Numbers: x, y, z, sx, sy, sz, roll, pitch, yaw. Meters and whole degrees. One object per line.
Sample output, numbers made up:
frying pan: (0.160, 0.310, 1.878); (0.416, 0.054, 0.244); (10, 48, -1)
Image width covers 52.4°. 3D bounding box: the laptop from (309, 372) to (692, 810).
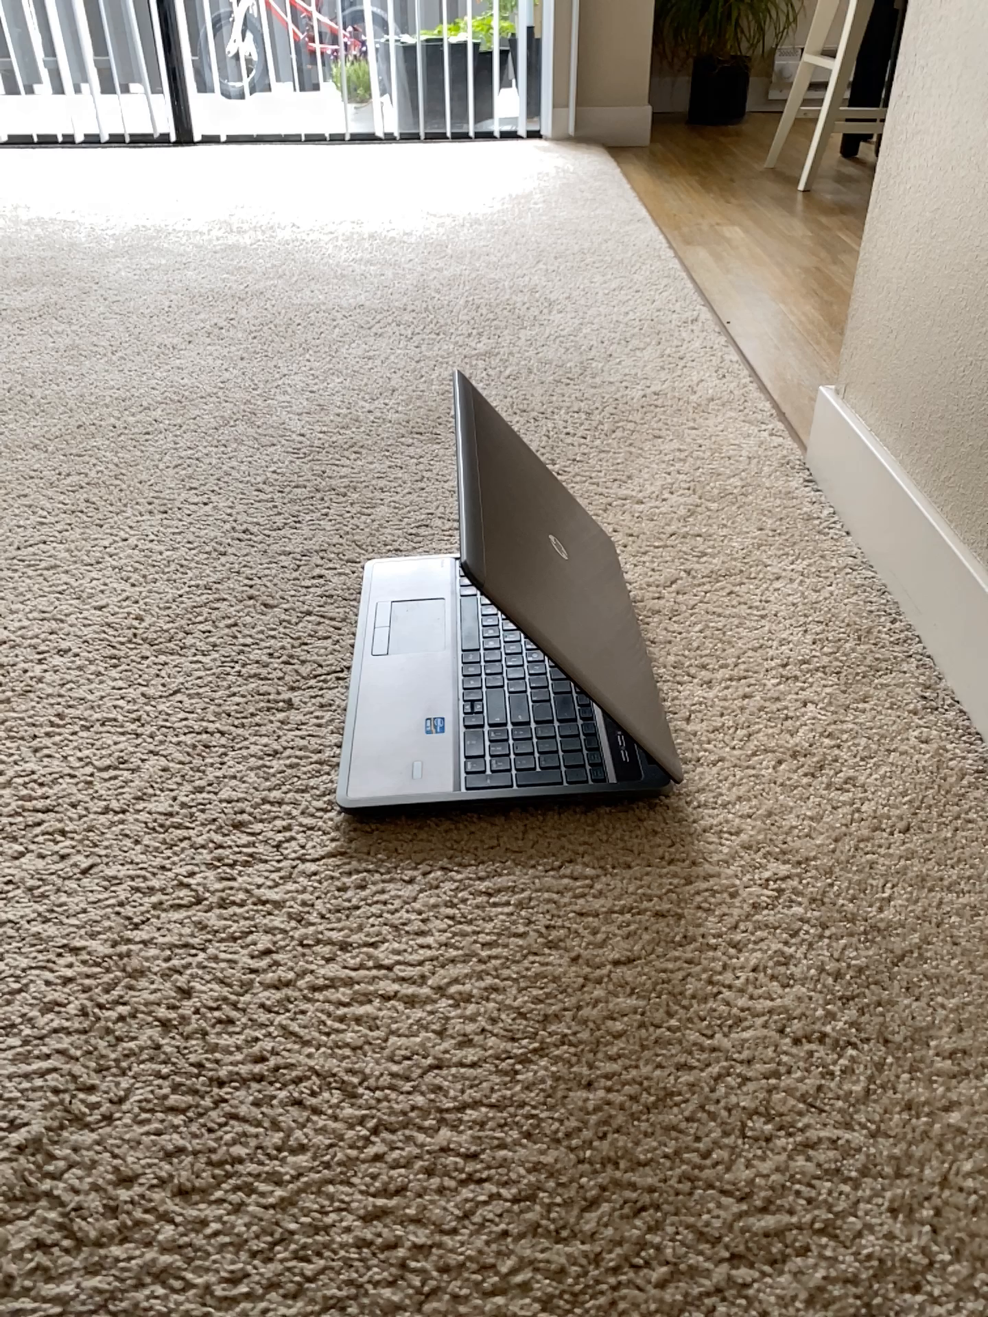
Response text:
laptop: (-0.005, -0.079, 0.855); (0.248, 0.189, 0.372); (-3, 35, -2)
